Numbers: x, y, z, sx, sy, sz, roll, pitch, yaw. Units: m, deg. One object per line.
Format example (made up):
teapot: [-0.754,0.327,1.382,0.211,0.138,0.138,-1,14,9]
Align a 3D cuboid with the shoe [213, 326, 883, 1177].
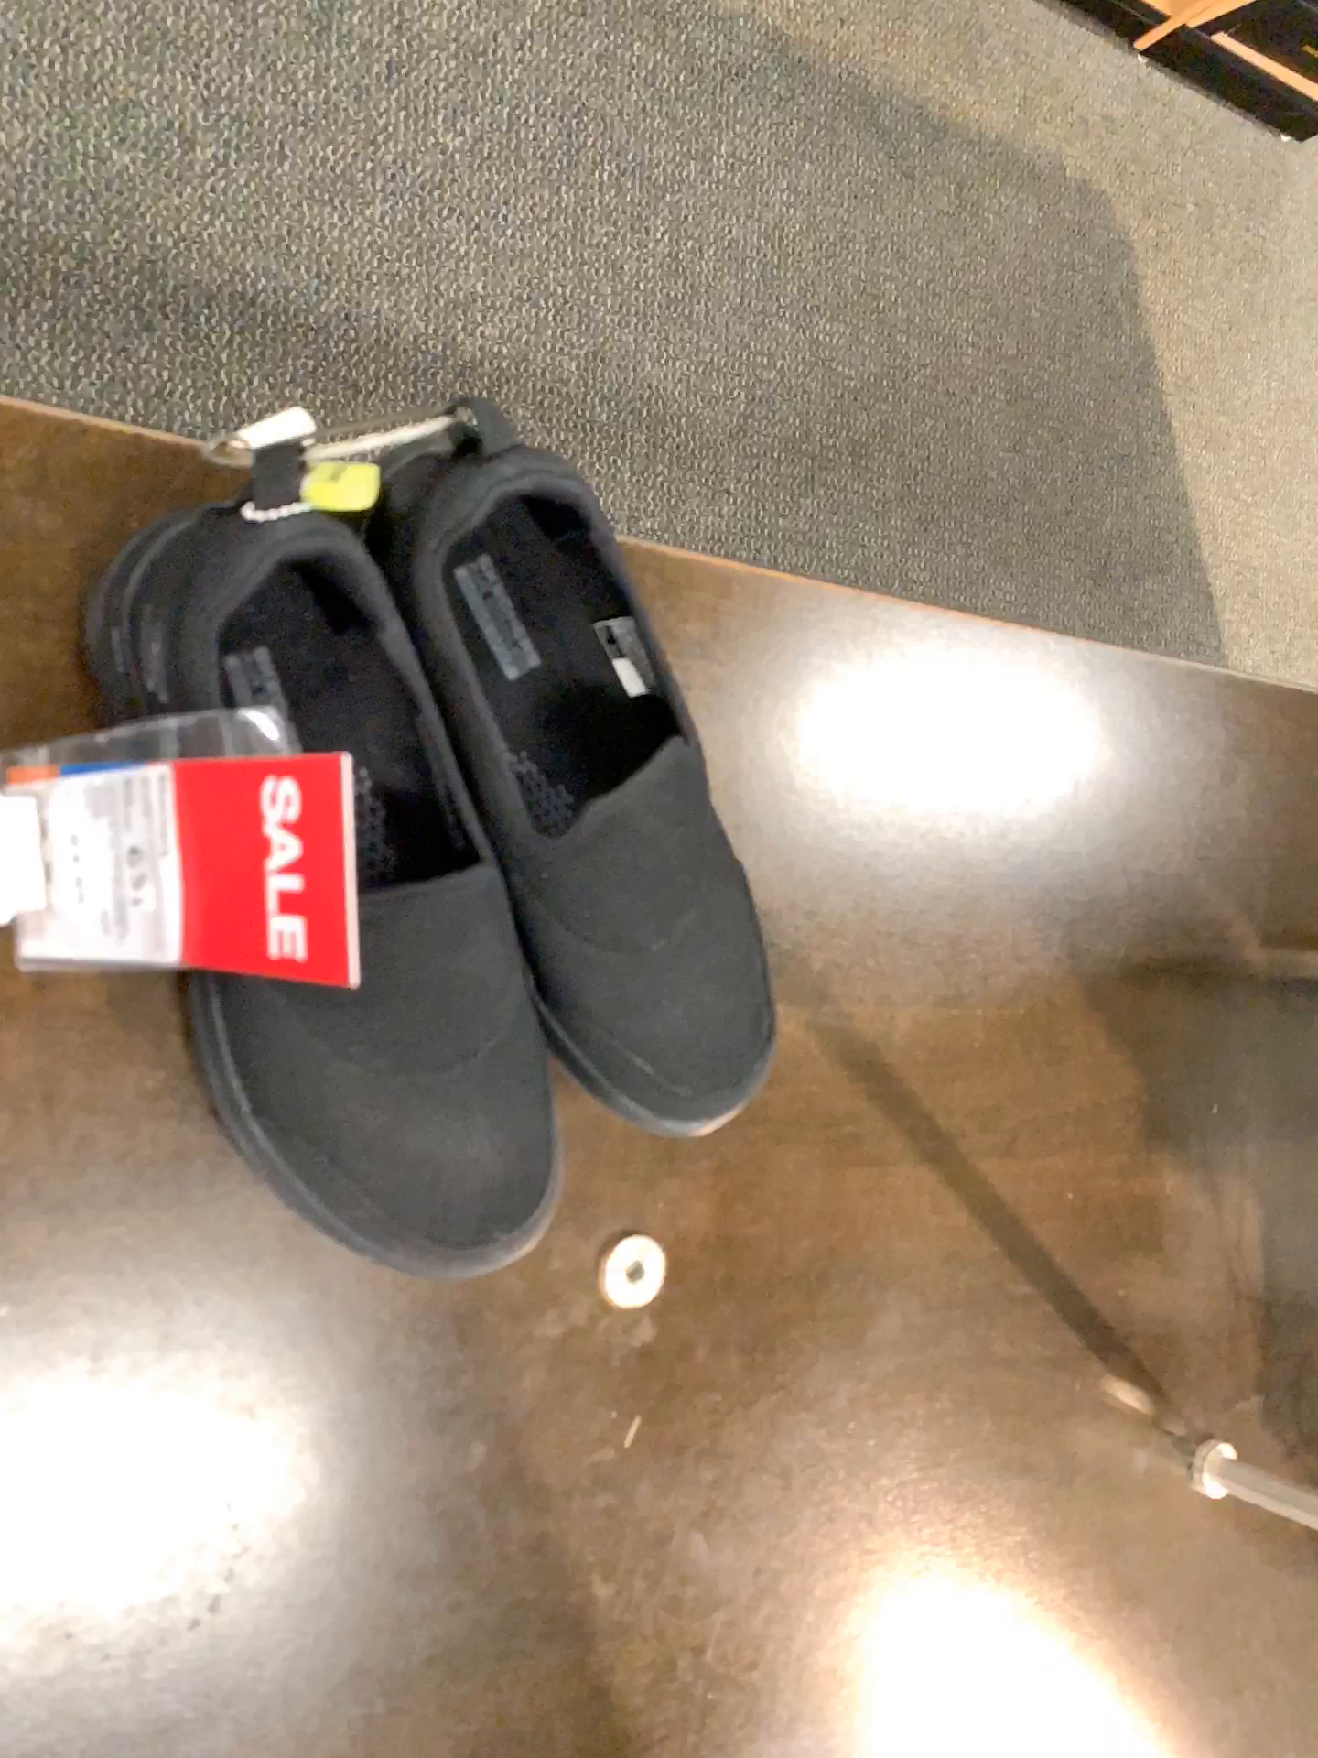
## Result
shoe: [-0.037,-0.036,0.455,0.094,0.110,0.244,-33,106,-27]

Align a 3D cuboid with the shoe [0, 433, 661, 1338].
shoe: [-0.103,0.002,0.412,0.094,0.110,0.230,-26,102,-29]
